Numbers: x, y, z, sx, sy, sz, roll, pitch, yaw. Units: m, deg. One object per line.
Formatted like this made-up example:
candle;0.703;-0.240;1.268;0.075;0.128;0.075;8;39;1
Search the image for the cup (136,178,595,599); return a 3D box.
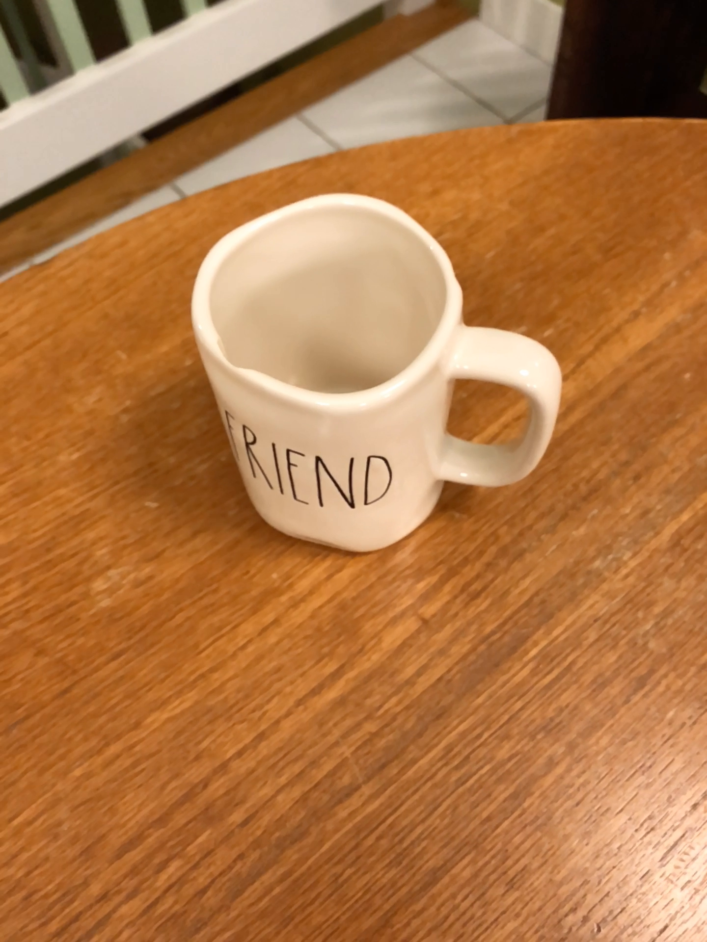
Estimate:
cup;0.009;-0.025;0.293;0.124;0.114;0.084;12;62;10
